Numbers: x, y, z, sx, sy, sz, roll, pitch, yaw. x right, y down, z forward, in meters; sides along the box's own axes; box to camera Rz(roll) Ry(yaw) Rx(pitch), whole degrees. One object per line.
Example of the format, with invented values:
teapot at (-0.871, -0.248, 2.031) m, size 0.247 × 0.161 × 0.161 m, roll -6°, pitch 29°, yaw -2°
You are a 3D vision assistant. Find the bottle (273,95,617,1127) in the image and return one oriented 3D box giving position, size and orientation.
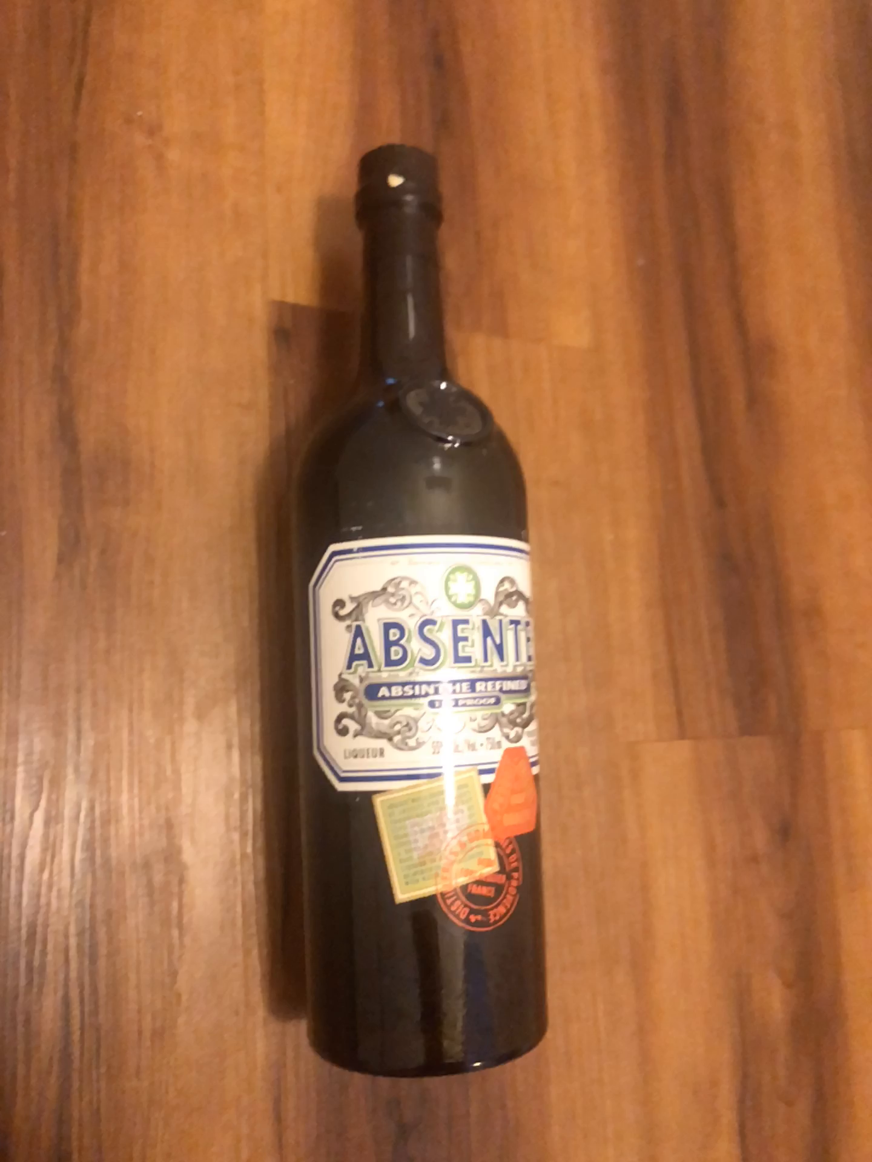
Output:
bottle at (-0.003, 0.003, 0.329) m, size 0.080 × 0.070 × 0.300 m, roll 2°, pitch 80°, yaw -26°
